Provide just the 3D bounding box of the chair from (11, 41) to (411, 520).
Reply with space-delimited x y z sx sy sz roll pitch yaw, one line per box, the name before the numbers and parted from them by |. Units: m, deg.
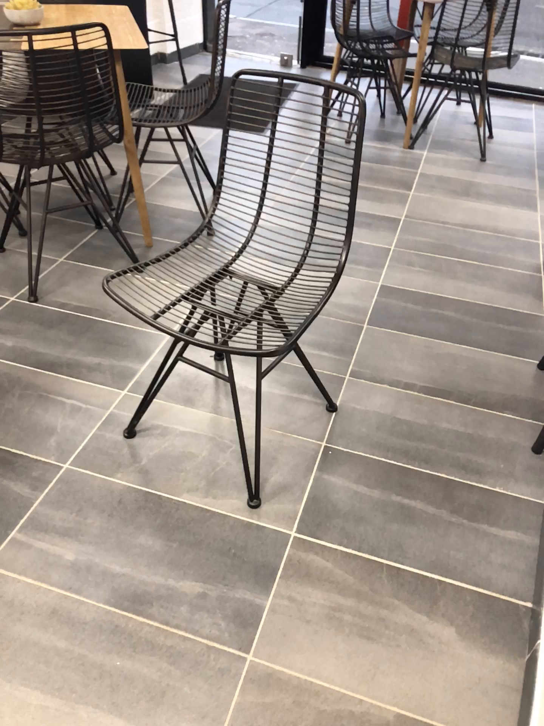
chair | -0.097 -0.192 1.311 0.500 0.785 0.523 23 43 23
